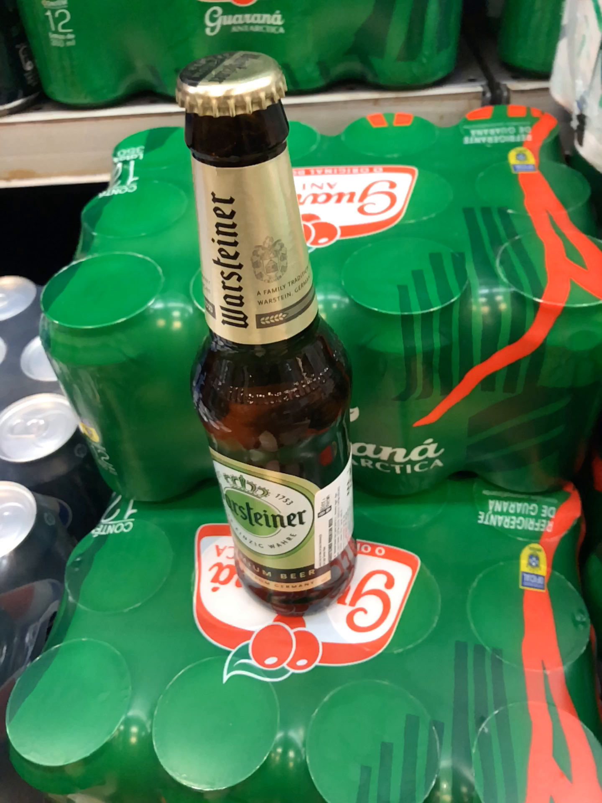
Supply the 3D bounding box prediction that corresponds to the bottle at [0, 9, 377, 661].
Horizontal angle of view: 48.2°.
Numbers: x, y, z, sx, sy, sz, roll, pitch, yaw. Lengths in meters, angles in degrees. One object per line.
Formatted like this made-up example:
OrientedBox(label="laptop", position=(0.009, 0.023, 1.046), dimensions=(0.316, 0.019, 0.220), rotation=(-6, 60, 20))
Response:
OrientedBox(label="bottle", position=(-0.019, 0.001, 0.239), dimensions=(0.070, 0.228, 0.060), rotation=(23, 53, 25))
